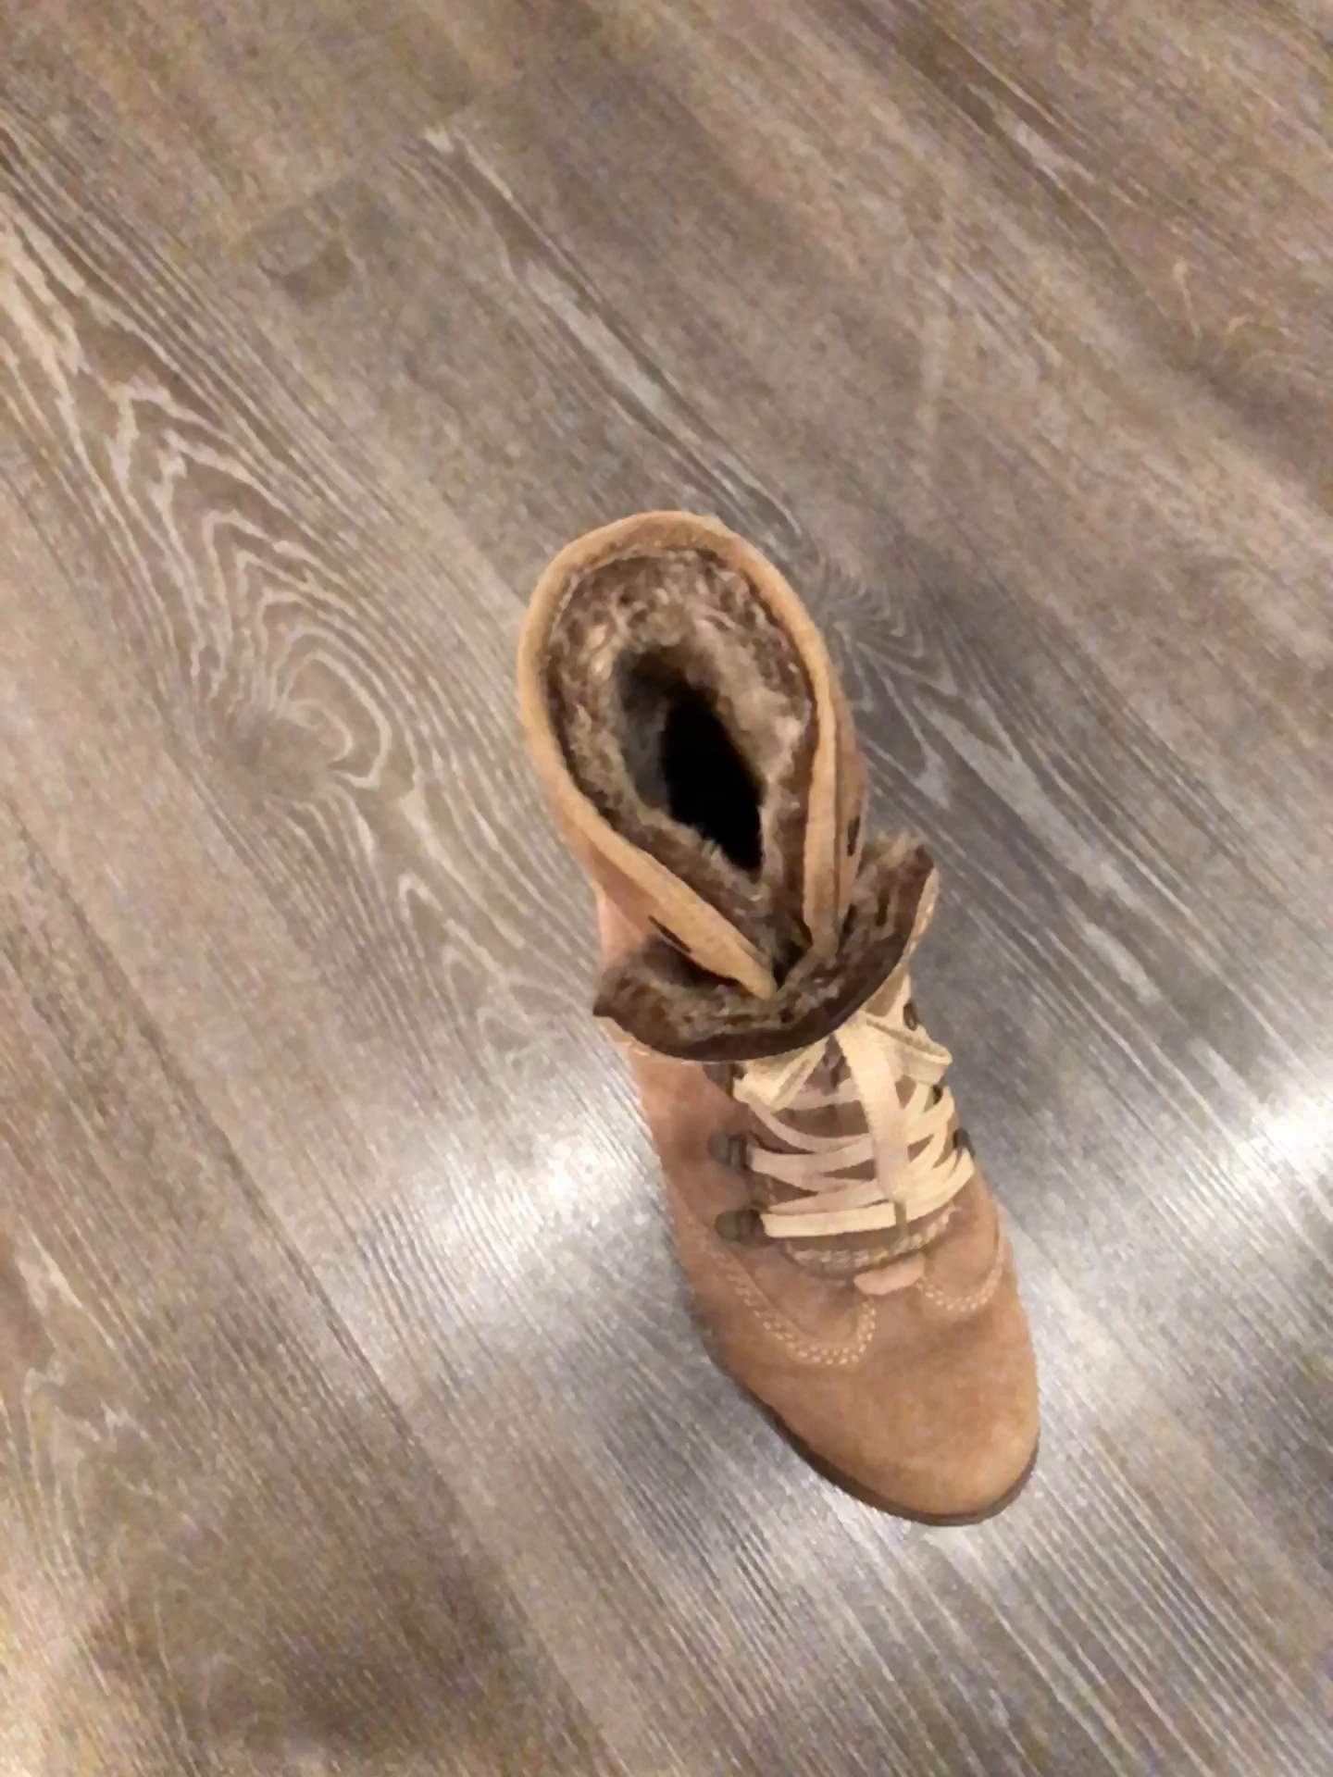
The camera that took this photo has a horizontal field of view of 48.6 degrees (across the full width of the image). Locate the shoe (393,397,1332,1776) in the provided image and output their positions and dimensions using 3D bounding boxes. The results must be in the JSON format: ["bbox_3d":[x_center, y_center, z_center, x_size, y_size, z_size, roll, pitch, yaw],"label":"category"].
[{"bbox_3d":[0.035,0.049,0.362,0.100,0.190,0.240,-20,71,-5],"label":"shoe"}]
